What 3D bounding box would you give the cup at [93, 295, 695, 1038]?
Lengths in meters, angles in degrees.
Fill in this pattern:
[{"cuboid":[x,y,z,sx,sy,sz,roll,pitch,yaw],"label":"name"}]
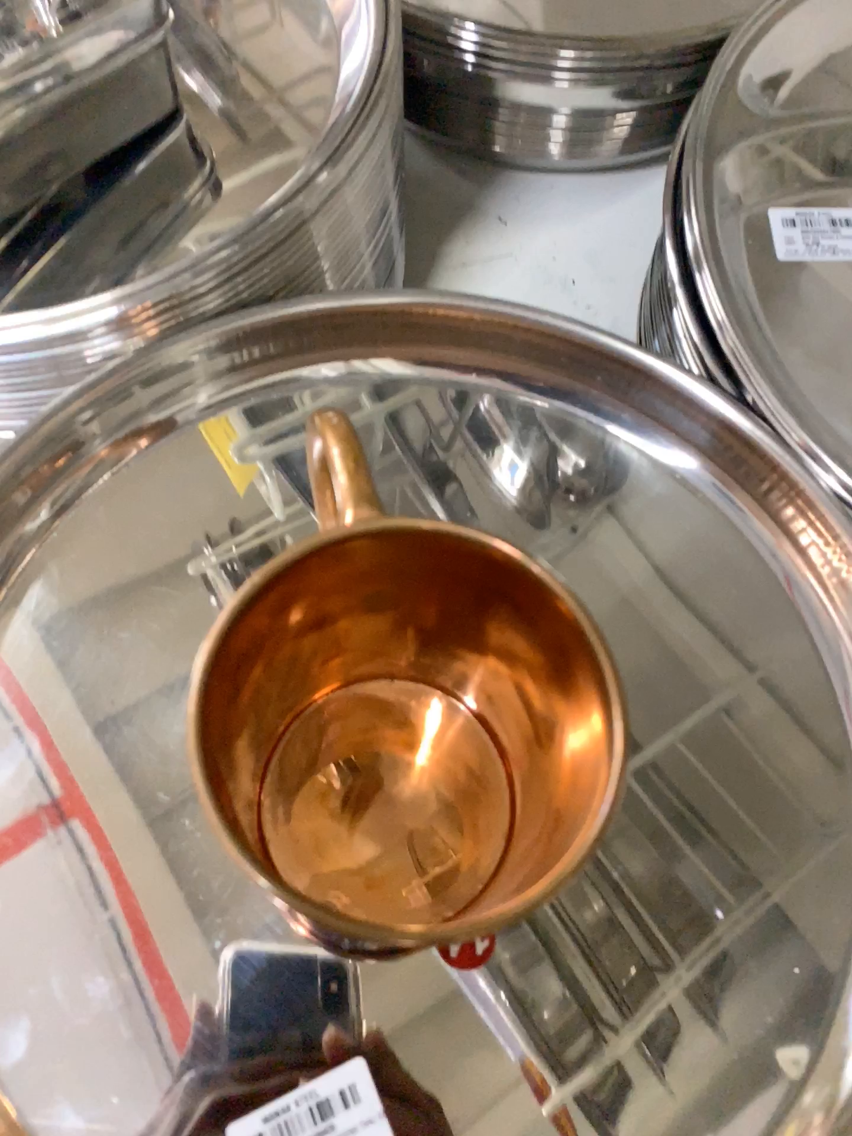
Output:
[{"cuboid":[-0.014,0.030,0.222,0.080,0.120,0.130,-17,68,-8],"label":"cup"}]
